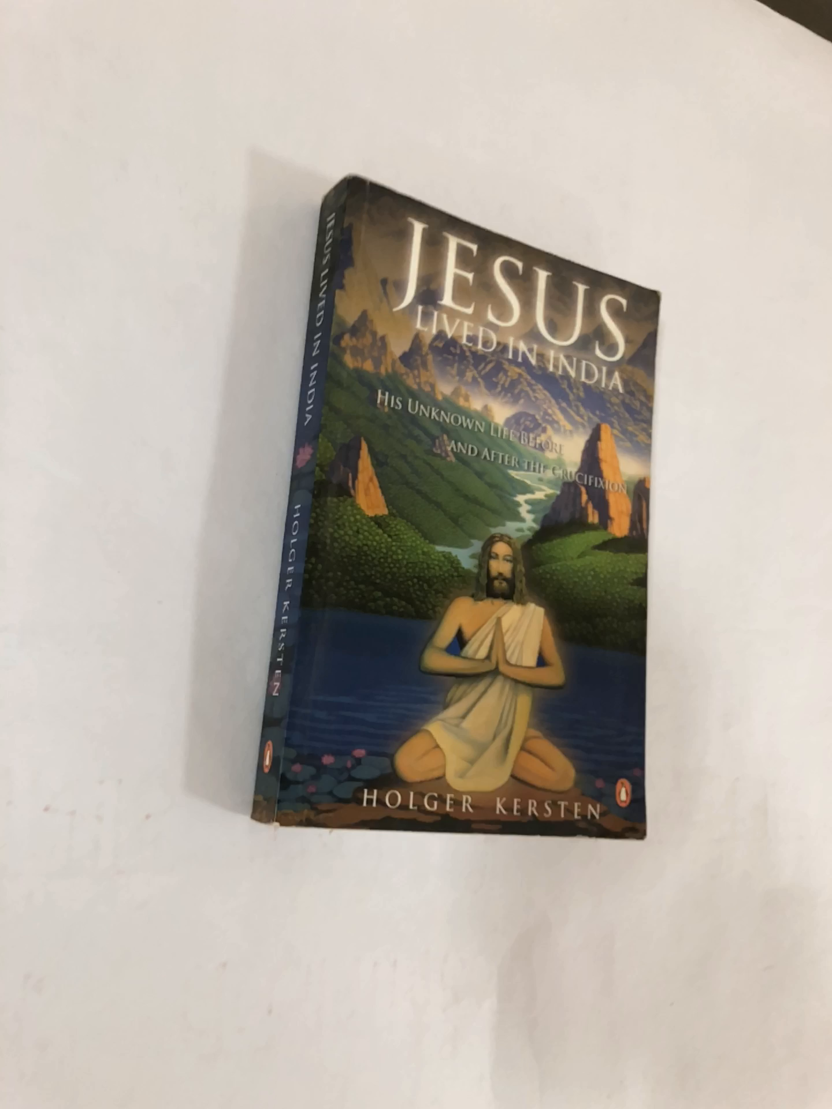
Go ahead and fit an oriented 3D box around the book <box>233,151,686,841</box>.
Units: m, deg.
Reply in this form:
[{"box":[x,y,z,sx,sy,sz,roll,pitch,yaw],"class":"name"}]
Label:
[{"box":[0.026,-0.013,0.326,0.151,0.030,0.210,11,76,-27],"class":"book"}]
